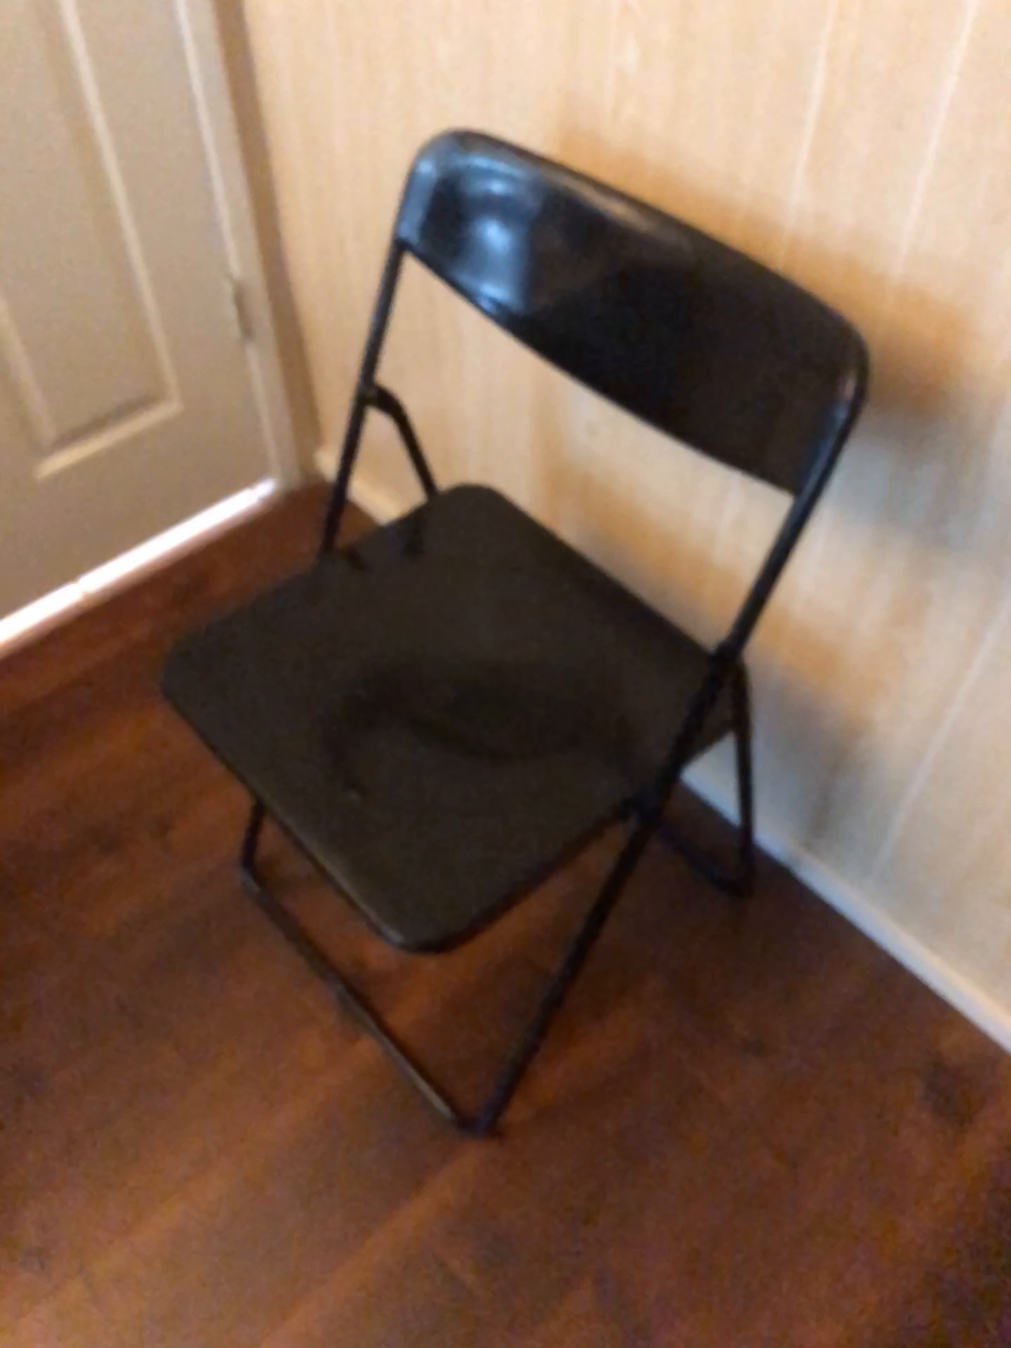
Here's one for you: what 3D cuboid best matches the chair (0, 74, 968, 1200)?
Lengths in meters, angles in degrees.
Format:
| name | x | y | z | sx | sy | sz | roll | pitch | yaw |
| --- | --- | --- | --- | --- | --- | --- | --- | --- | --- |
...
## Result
| name | x | y | z | sx | sy | sz | roll | pitch | yaw |
| --- | --- | --- | --- | --- | --- | --- | --- | --- | --- |
| chair | -0.057 | -0.009 | 0.952 | 0.471 | 0.666 | 0.492 | -35 | 59 | -24 |
